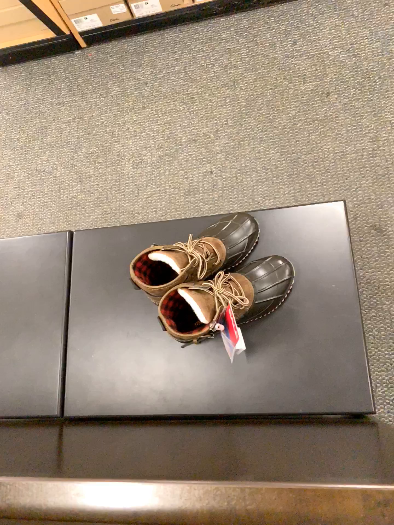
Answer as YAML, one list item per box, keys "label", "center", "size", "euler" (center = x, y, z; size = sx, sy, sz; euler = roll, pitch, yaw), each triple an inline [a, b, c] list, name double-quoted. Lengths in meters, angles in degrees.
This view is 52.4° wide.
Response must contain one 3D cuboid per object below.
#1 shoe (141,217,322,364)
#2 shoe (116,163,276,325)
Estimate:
- label: "shoe"
  center: [0.060, 0.056, 0.640]
  size: [0.240, 0.150, 0.100]
  euler: [-31, 71, 3]
- label: "shoe"
  center: [0.010, -0.021, 0.677]
  size: [0.240, 0.150, 0.100]
  euler: [-43, 71, -1]
